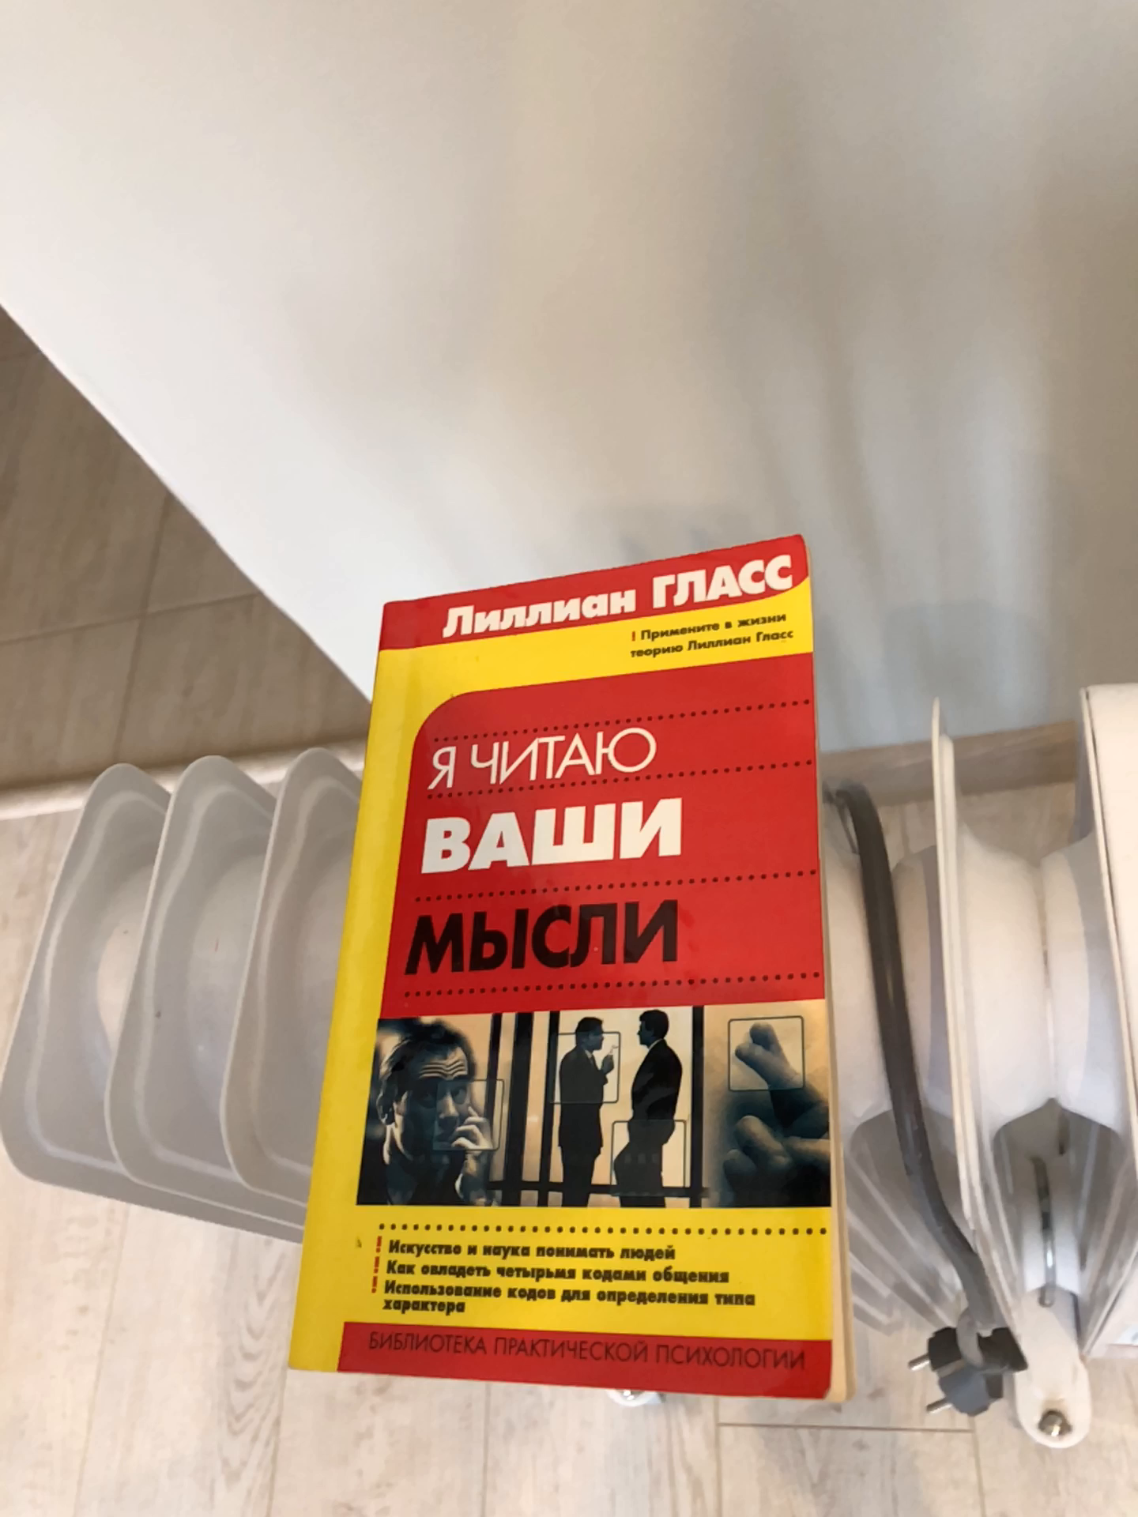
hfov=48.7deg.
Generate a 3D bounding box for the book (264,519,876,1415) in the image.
[{"bbox_3d":[0.003,0.041,0.310,0.128,0.020,0.207,-7,61,19],"label":"book"}]
